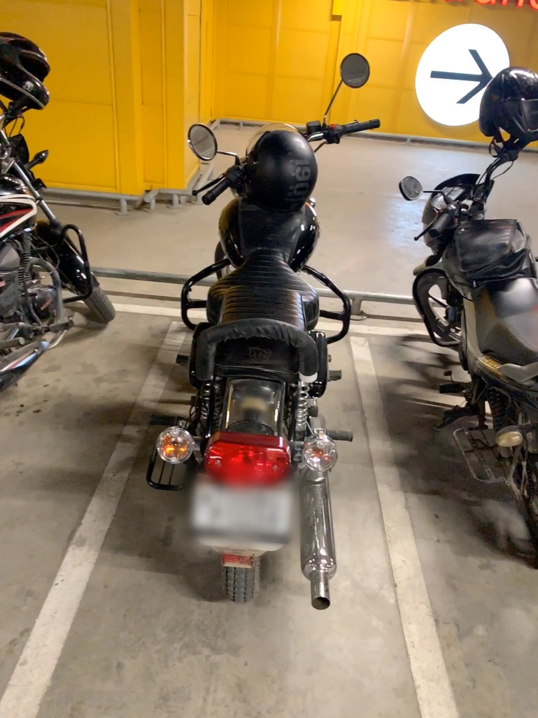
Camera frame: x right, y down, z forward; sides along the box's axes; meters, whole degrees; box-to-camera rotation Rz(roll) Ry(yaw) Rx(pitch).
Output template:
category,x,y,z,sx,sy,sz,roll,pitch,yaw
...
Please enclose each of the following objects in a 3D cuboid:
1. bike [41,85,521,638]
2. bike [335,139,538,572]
category,x,y,z,sx,sy,sz,roll,pitch,yaw
bike,-0.134,-0.258,1.917,0.763,1.050,1.835,1,30,-7
bike,0.723,-0.220,2.084,0.598,0.924,1.728,4,28,-3
